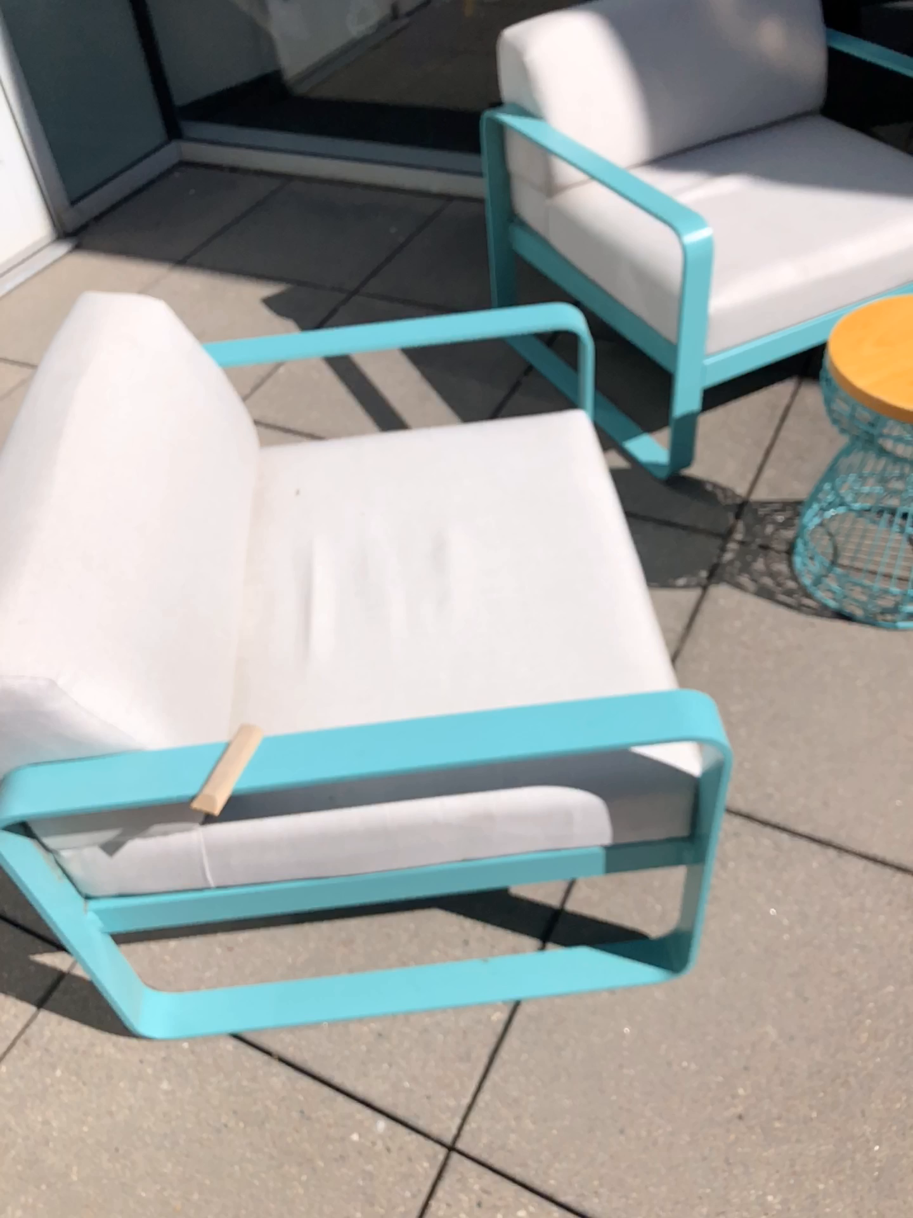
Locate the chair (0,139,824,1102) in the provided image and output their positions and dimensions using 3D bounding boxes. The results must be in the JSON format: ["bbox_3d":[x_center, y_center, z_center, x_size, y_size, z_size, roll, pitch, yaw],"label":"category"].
[{"bbox_3d":[-0.167,-0.016,1.379,0.870,0.767,0.904,-9,44,-2],"label":"chair"}]
